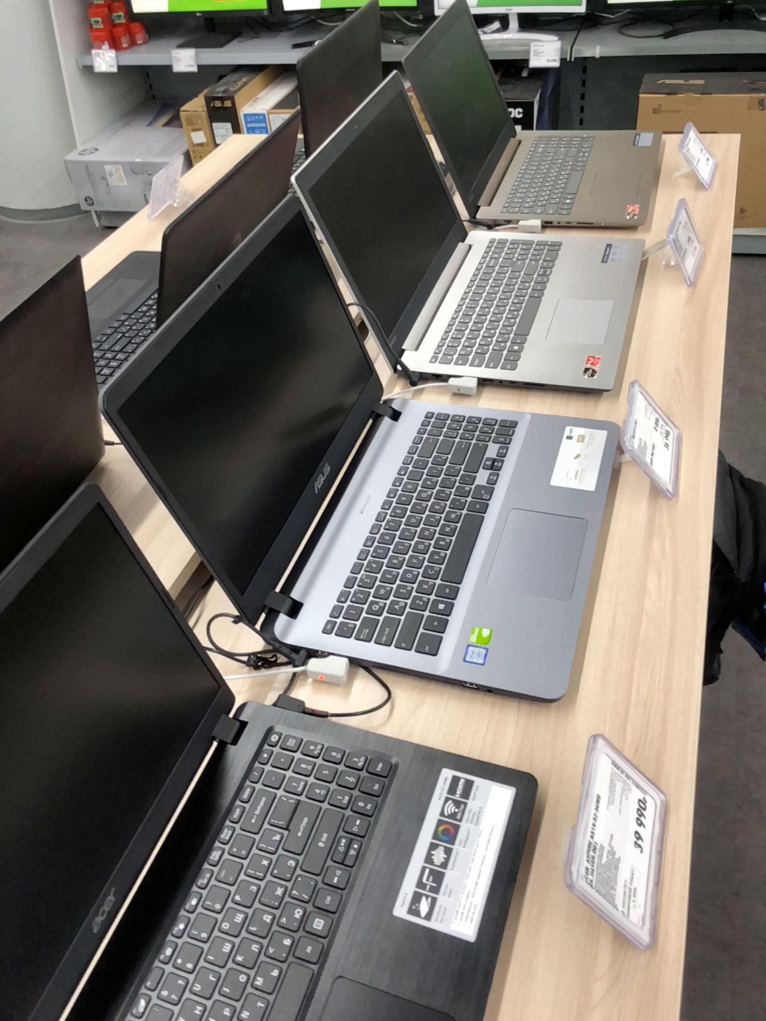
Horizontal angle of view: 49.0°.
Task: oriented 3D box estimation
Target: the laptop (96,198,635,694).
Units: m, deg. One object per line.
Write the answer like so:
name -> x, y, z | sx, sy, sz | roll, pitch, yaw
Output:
laptop -> 0.021, -0.082, 0.729 | 0.328, 0.226, 0.346 | 9, 44, 16

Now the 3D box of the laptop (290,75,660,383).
laptop -> 0.136, -0.361, 1.029 | 0.332, 0.220, 0.372 | 8, 43, 14

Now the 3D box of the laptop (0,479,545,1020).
laptop -> -0.092, 0.196, 0.443 | 0.291, 0.222, 0.334 | 9, 44, 18
